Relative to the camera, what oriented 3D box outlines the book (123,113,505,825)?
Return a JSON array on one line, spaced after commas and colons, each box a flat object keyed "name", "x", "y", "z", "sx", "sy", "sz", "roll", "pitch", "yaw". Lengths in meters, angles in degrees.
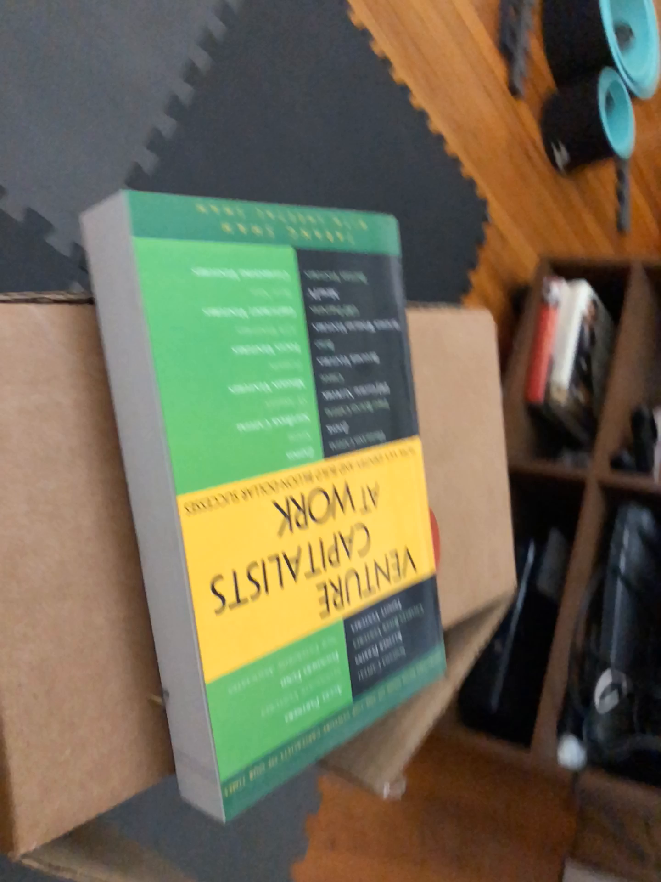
[{"name": "book", "x": 0.007, "y": 0.004, "z": 0.336, "sx": 0.161, "sy": 0.040, "sz": 0.260, "roll": -13, "pitch": 97, "yaw": -47}]
